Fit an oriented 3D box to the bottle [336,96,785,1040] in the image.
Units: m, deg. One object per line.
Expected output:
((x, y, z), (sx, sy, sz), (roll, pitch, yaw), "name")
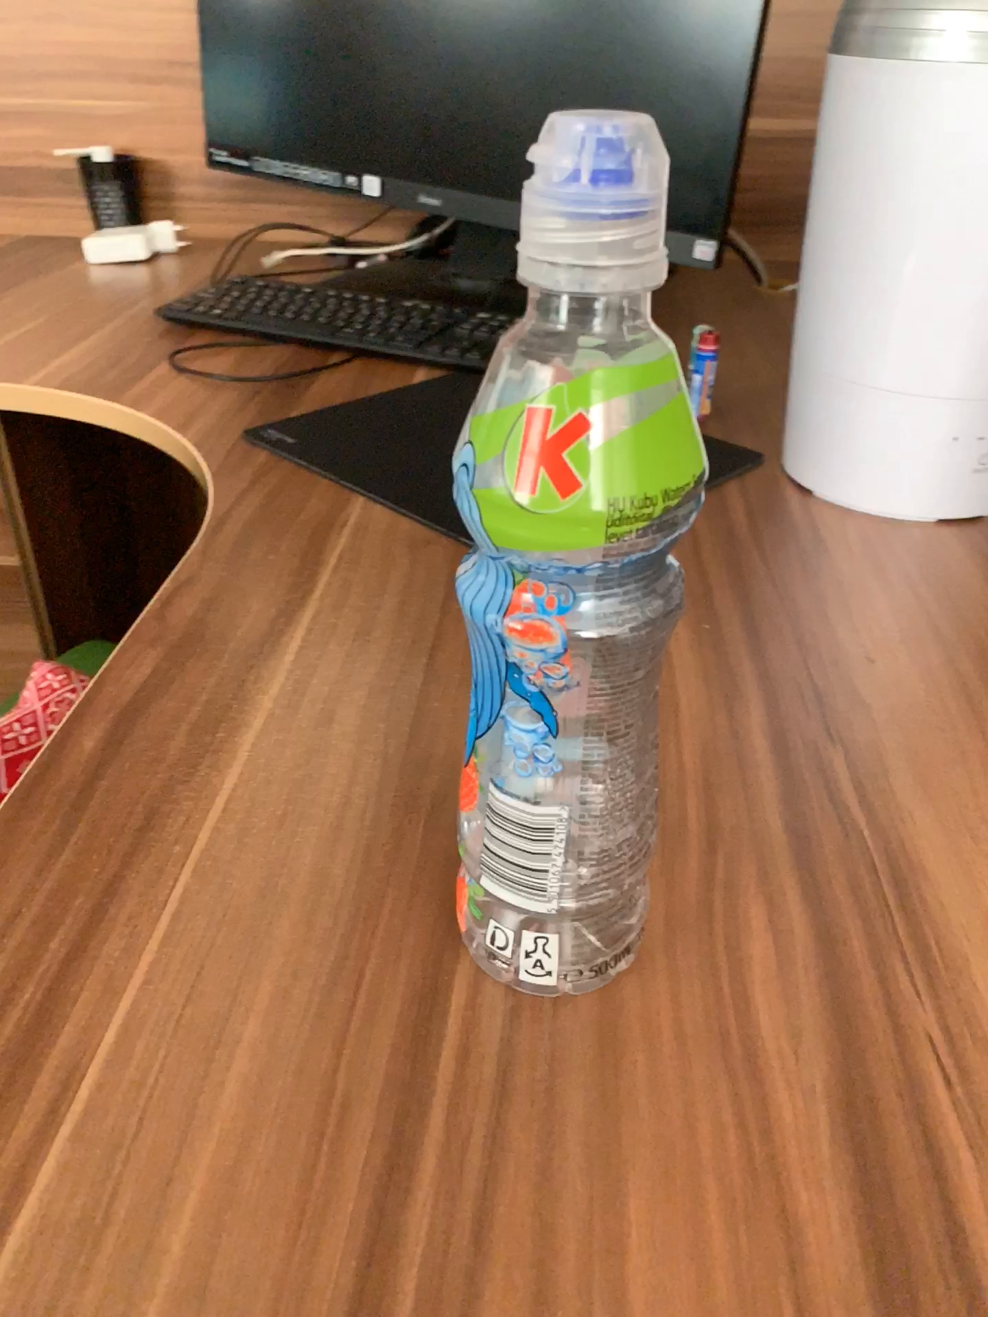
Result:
((0.014, -0.014, 0.278), (0.070, 0.239, 0.070), (1, 32, -1), "bottle")
